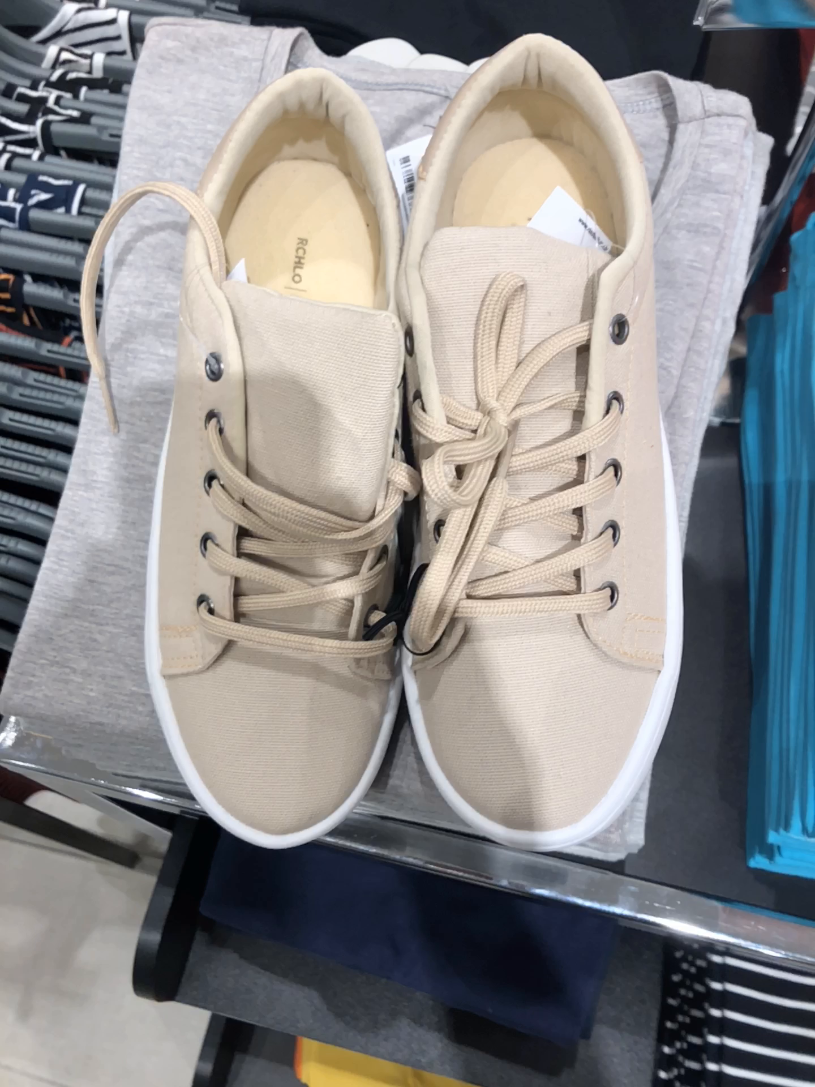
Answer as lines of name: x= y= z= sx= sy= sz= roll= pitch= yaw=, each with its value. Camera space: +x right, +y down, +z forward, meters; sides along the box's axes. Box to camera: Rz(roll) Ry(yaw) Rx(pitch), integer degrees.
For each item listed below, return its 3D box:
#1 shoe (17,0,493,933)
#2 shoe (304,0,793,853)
shoe: x=-0.039 y=-0.036 z=0.299 sx=0.100 sy=0.110 sz=0.280 roll=5 pitch=80 yaw=-5
shoe: x=0.039 y=-0.052 z=0.310 sx=0.110 sy=0.110 sz=0.291 roll=1 pitch=68 yaw=3
